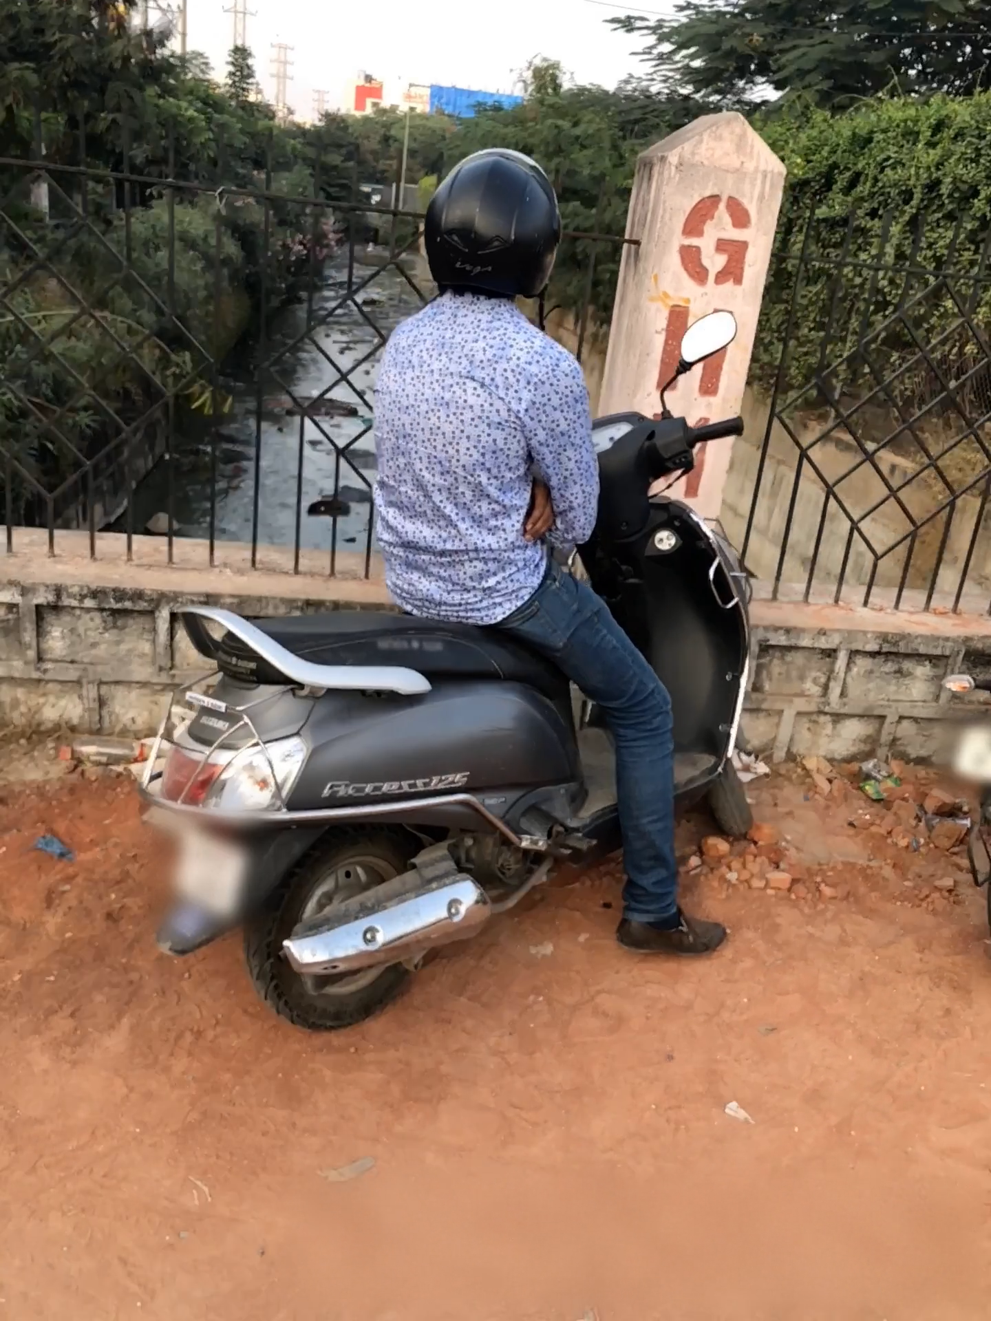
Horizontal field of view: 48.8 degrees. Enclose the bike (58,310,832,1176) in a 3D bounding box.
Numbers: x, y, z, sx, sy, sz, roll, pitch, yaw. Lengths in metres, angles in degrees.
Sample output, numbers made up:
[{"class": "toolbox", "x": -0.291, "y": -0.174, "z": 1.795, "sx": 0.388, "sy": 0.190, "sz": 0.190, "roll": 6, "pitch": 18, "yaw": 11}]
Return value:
[{"class": "bike", "x": -0.032, "y": -0.039, "z": 2.481, "sx": 0.798, "sy": 1.217, "sz": 1.585, "roll": 20, "pitch": 28, "yaw": 30}]
